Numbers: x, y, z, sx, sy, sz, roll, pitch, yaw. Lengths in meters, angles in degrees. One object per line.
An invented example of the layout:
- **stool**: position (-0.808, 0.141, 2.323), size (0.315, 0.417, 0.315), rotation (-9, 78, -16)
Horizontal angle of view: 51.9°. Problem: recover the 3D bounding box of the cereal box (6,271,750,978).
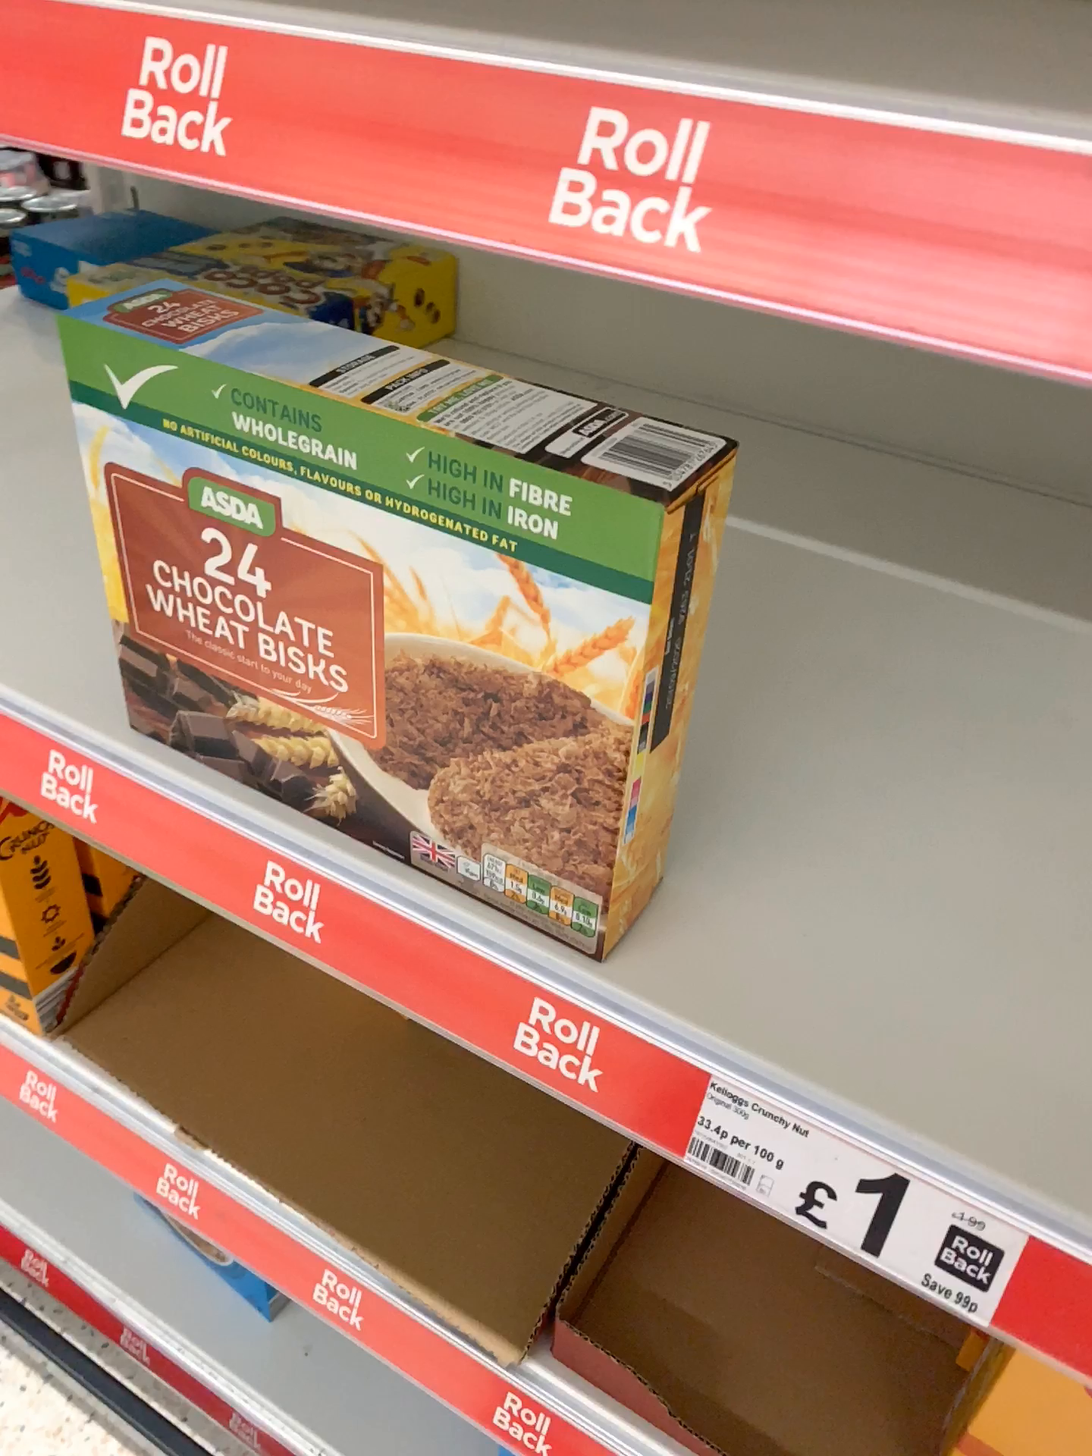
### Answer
- **cereal box**: position (-0.067, -0.045, 0.417), size (0.251, 0.178, 0.071), rotation (23, 41, 23)
